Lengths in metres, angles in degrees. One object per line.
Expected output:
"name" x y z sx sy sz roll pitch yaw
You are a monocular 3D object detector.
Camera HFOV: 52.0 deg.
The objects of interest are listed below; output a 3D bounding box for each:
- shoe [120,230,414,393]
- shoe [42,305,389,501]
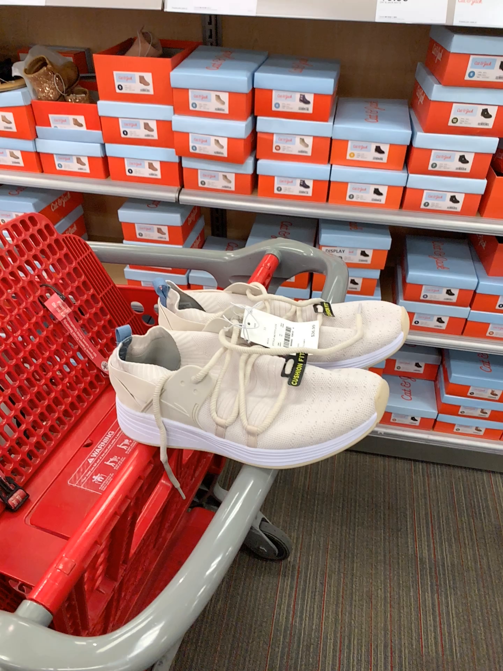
"shoe" 0.024 -0.021 0.555 0.280 0.109 0.111 -4 38 16
"shoe" -0.031 0.051 0.476 0.280 0.110 0.110 0 37 27
